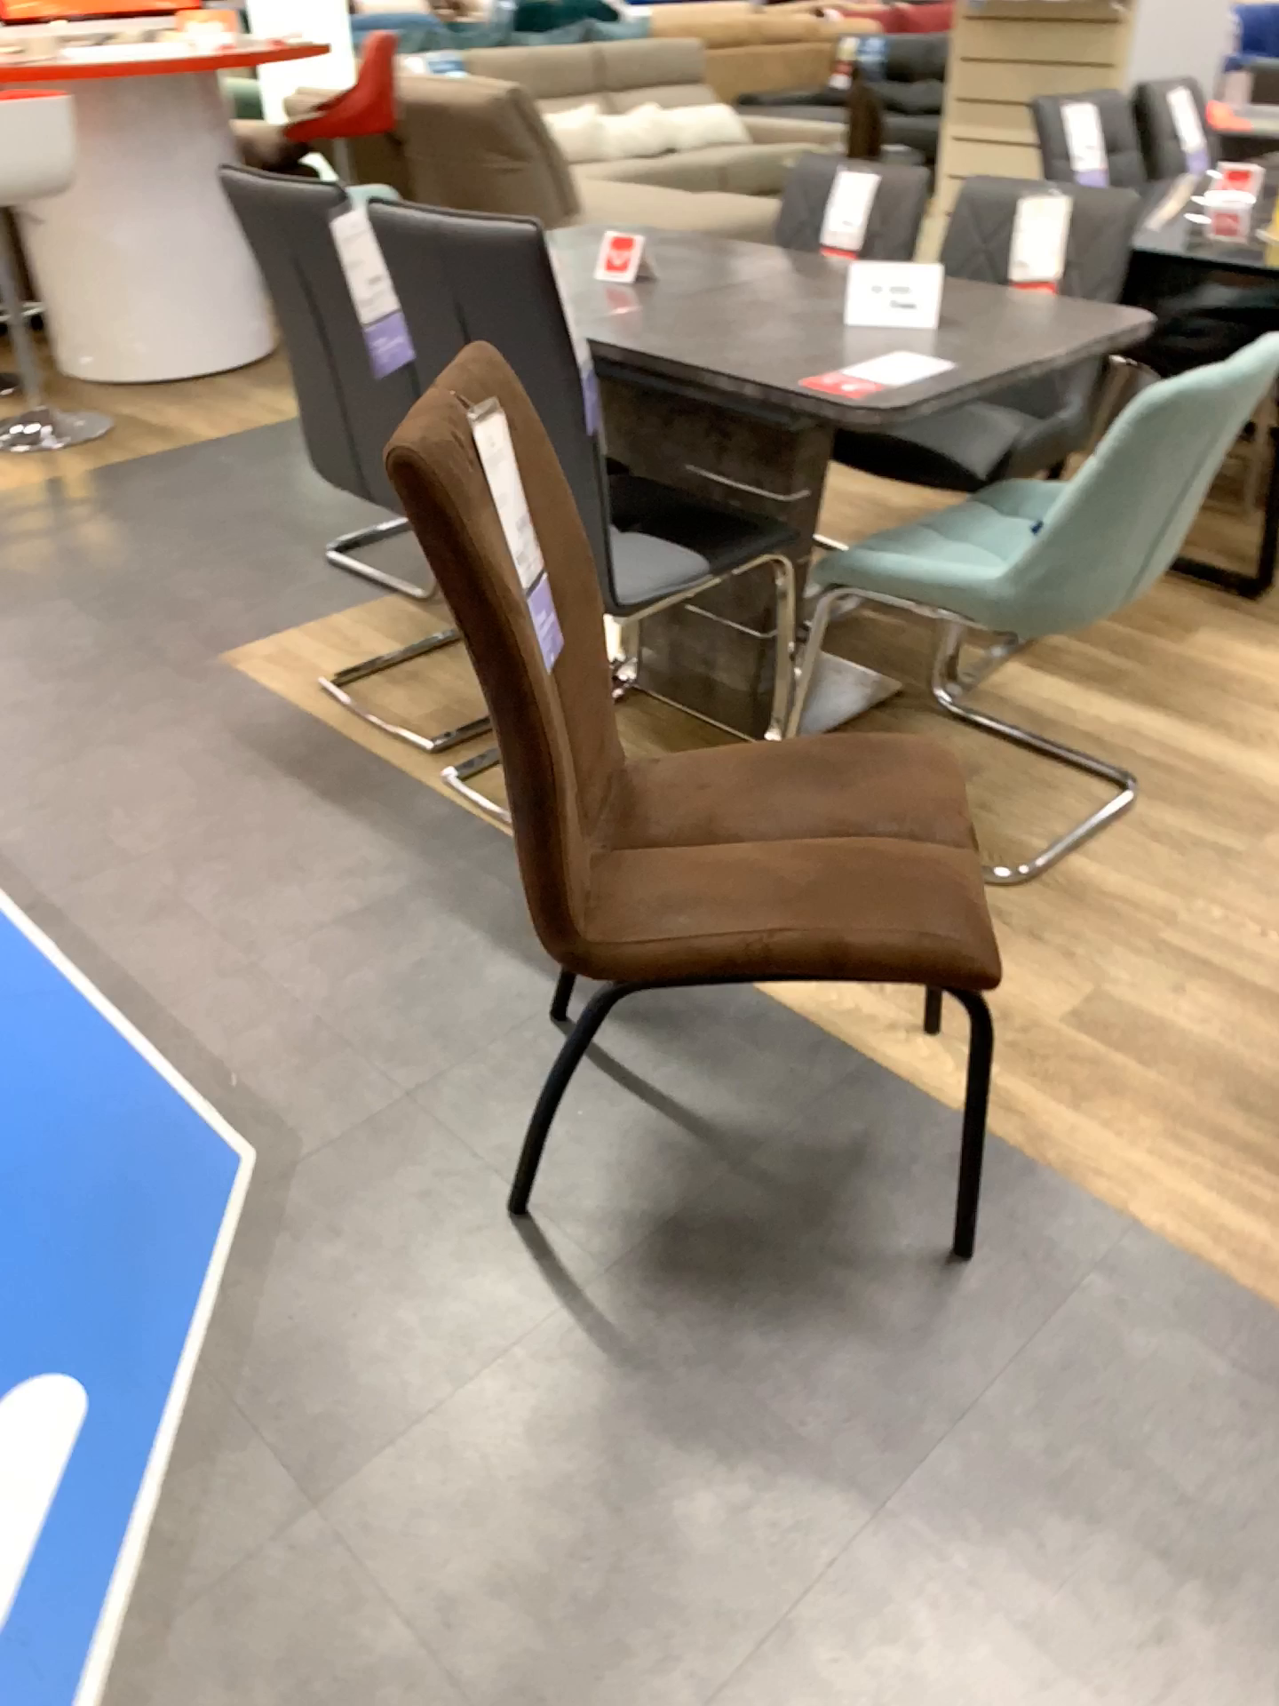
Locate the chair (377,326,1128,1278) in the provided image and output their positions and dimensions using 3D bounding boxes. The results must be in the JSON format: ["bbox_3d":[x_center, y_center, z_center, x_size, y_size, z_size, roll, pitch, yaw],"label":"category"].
[{"bbox_3d":[0.109,-0.035,1.485,0.590,0.964,0.443,2,34,5],"label":"chair"}]
